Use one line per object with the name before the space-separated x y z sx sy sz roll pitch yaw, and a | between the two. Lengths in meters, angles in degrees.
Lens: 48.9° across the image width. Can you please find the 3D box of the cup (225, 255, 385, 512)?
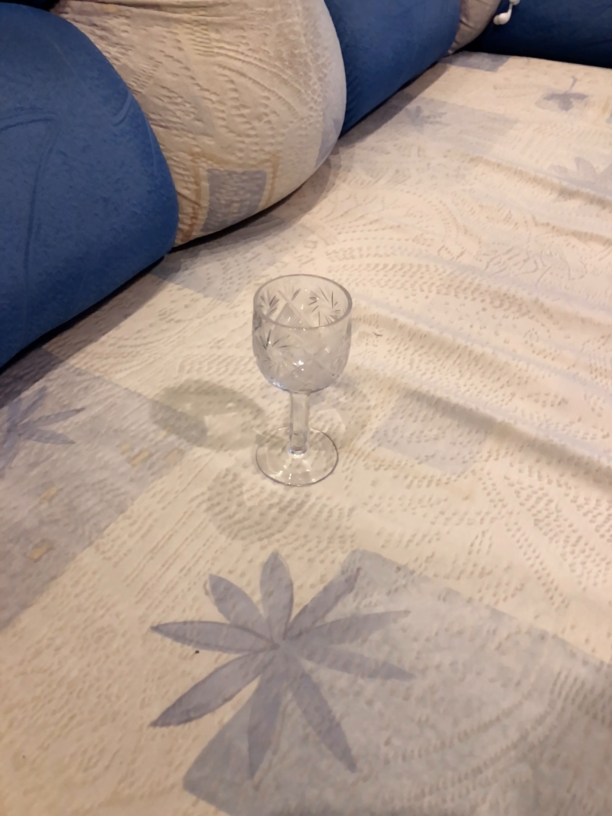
cup | -0.003 -0.011 0.370 0.060 0.119 0.060 1 44 -1
